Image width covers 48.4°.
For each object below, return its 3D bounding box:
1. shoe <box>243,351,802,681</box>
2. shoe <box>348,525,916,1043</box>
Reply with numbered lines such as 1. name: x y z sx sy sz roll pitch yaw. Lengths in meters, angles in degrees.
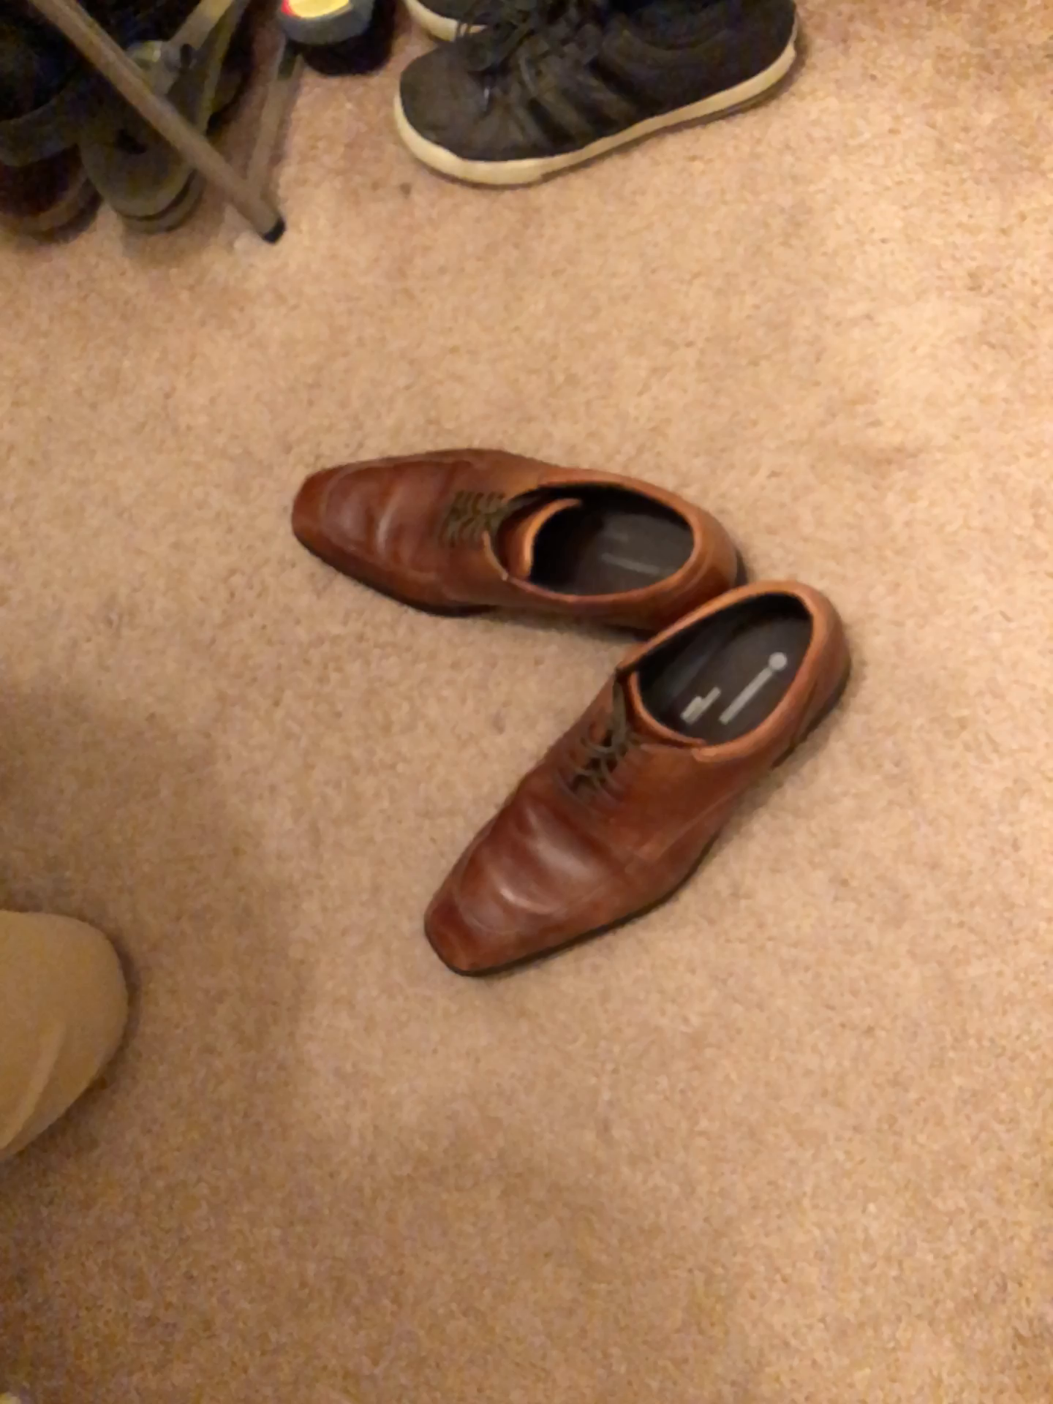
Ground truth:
1. shoe: 0.001 -0.114 0.718 0.300 0.120 0.120 13 83 19
2. shoe: 0.062 0.052 0.654 0.300 0.110 0.100 -40 71 6
